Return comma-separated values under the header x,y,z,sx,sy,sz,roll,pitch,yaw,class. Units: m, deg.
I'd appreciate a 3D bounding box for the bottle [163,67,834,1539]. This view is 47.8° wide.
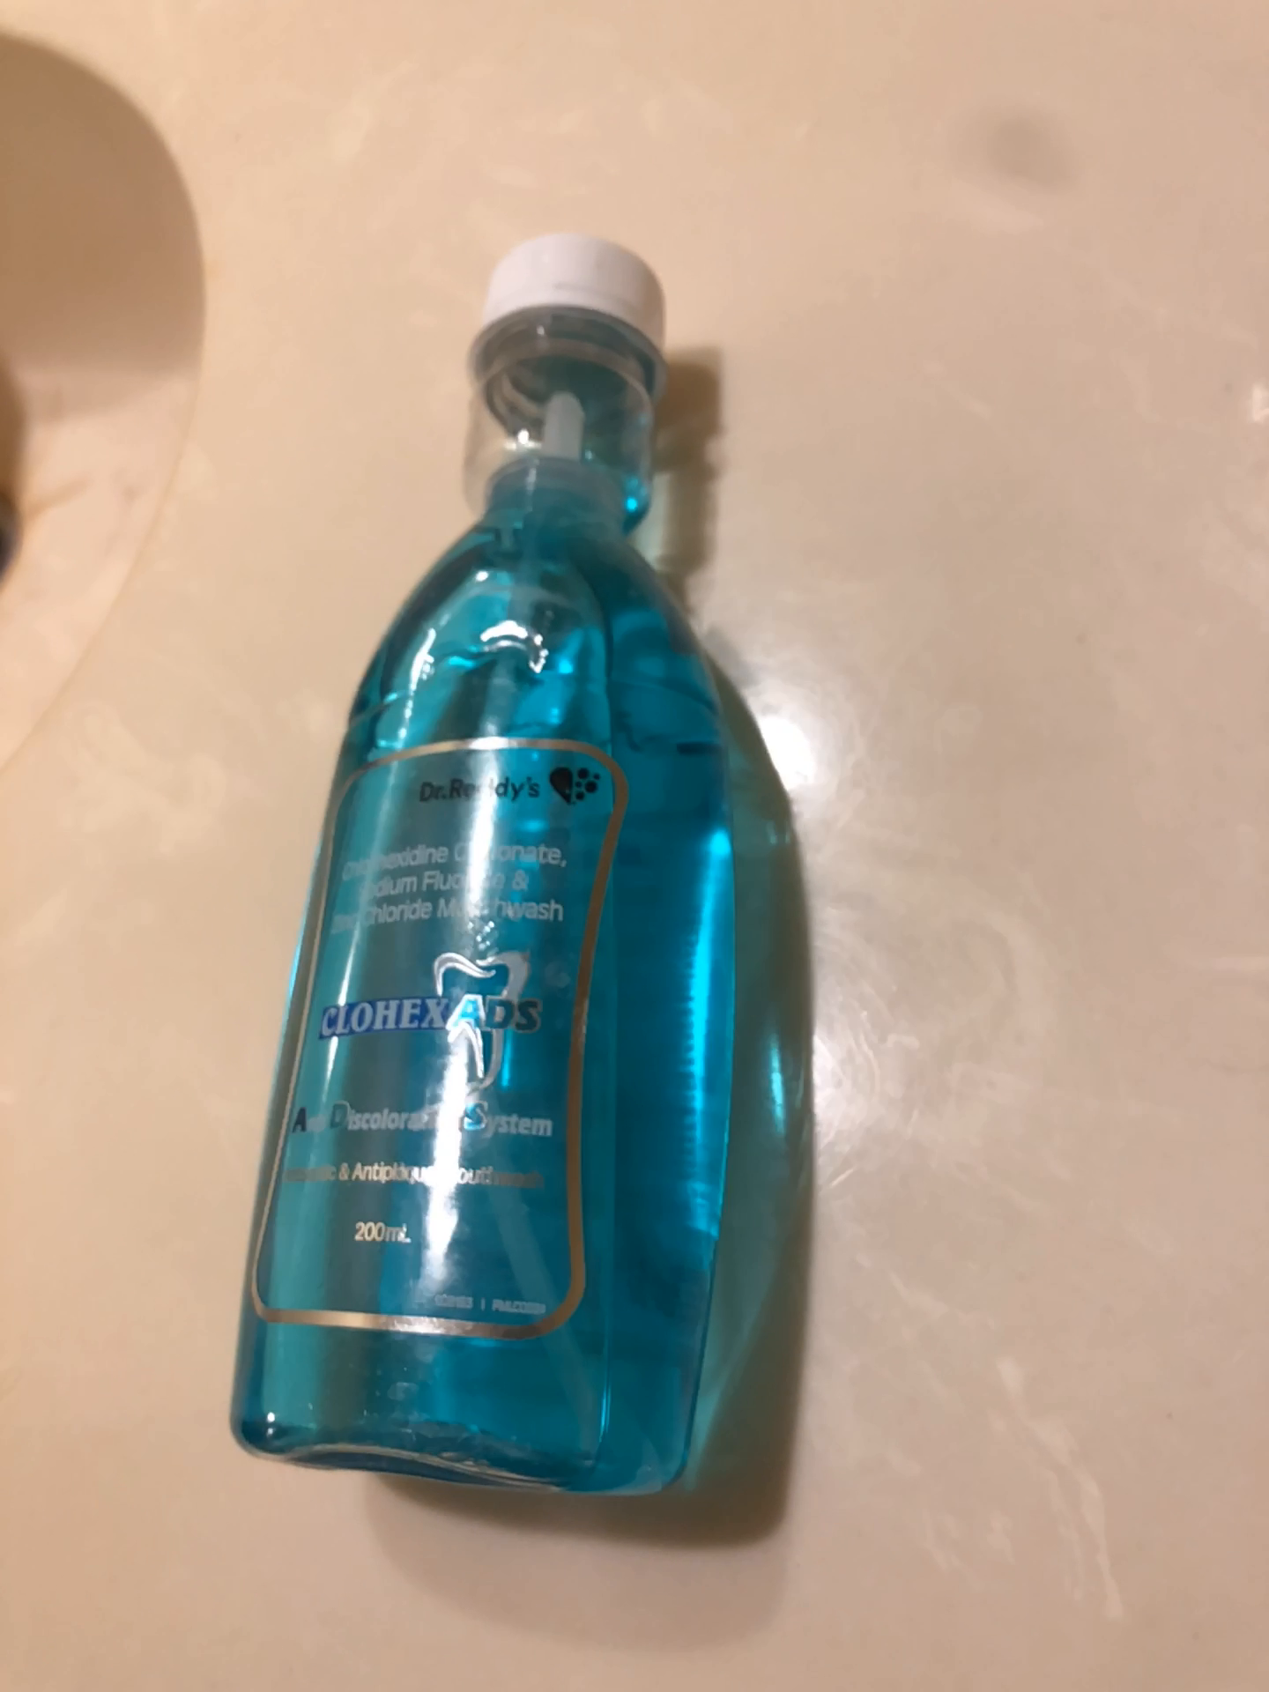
x,y,z,sx,sy,sz,roll,pitch,yaw,class
-0.011,-0.015,0.219,0.070,0.040,0.210,-4,68,21,bottle
